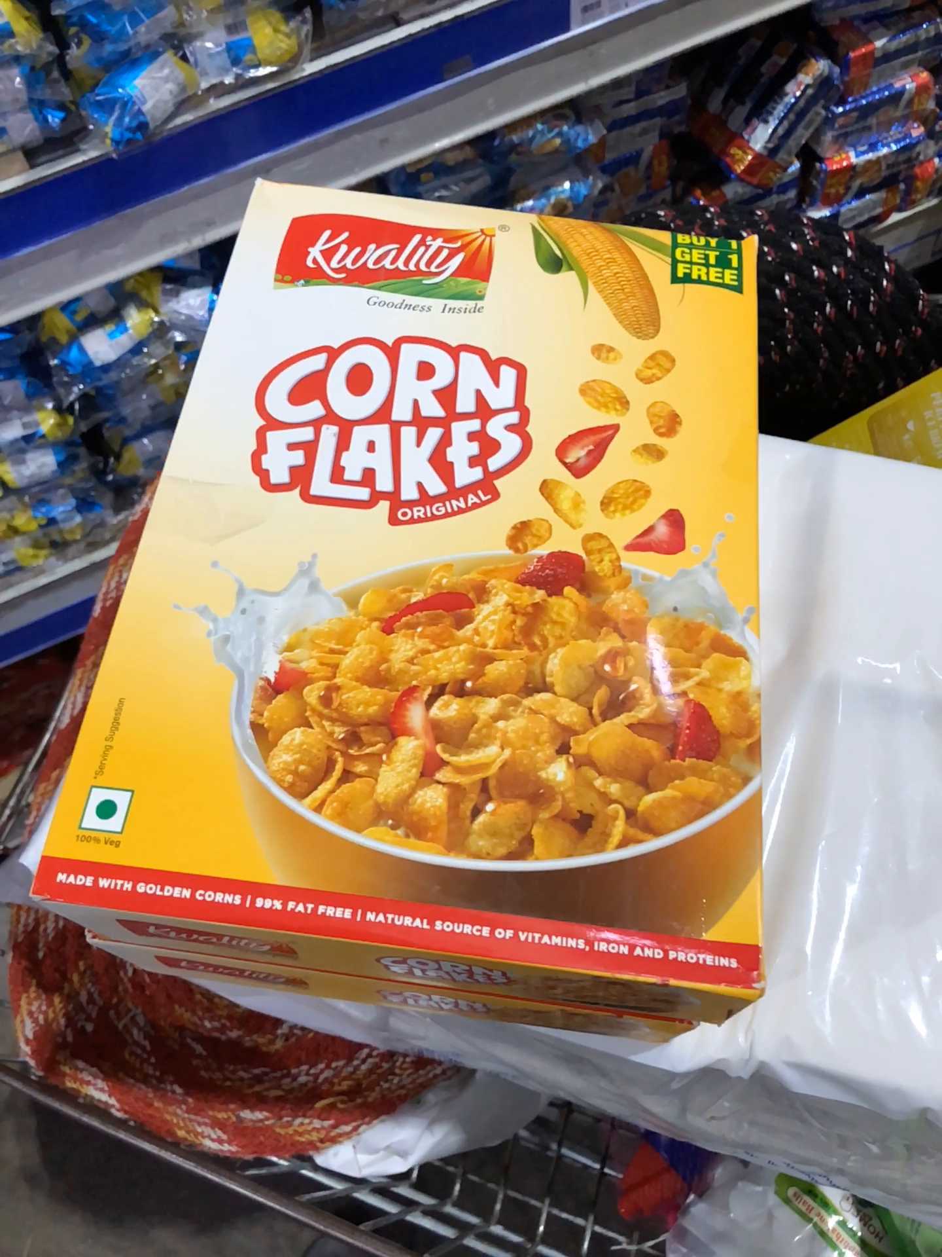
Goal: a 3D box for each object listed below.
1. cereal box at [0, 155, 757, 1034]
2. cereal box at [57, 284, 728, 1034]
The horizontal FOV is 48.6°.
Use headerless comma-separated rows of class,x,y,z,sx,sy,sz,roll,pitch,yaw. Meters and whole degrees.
cereal box,-0.013,-0.025,0.330,0.190,0.060,0.261,6,65,3
cereal box,-0.011,0.001,0.400,0.200,0.070,0.261,6,65,3
